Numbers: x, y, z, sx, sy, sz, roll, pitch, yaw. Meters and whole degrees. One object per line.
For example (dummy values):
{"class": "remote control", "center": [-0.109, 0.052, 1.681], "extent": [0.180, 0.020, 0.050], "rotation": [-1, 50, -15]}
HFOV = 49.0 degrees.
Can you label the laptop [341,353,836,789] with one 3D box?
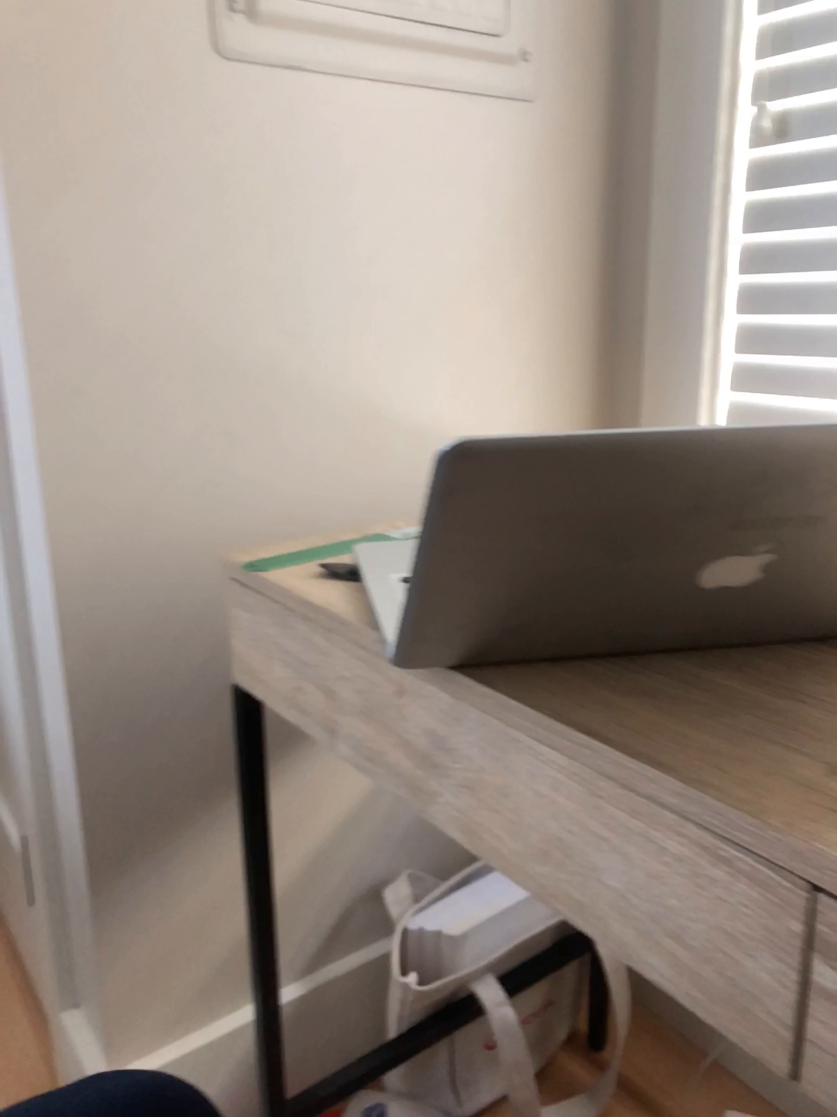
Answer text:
{"class": "laptop", "center": [0.134, -0.033, 0.539], "extent": [0.320, 0.133, 0.347], "rotation": [-4, 17, -9]}
